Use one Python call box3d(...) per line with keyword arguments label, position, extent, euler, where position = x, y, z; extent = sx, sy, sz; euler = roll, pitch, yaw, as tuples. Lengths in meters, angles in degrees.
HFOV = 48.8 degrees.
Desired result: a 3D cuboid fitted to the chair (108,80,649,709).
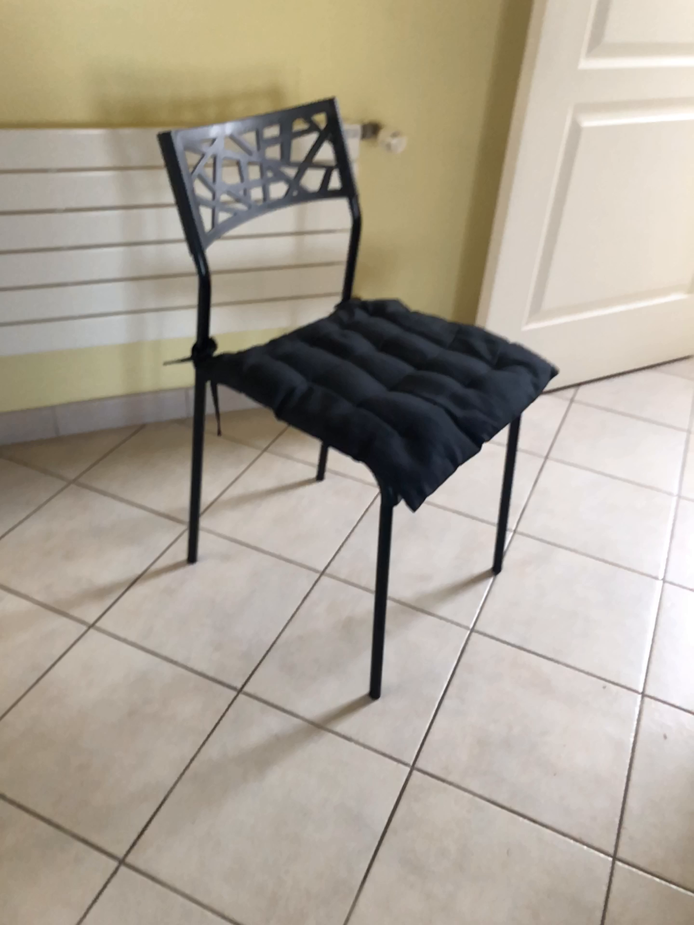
box3d(label="chair", position=(0.037, -0.142, 1.238), extent=(0.520, 0.735, 0.523), euler=(27, 42, 28))
